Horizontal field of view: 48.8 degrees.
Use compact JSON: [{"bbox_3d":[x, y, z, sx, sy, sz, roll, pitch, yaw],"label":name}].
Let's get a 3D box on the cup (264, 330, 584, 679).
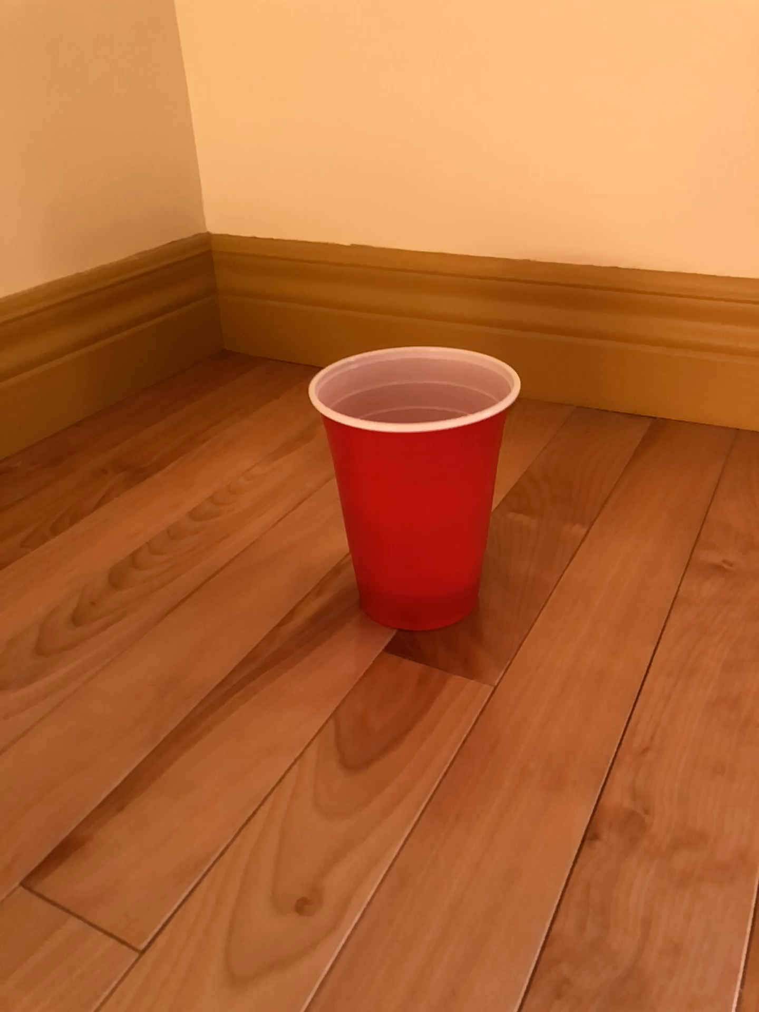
[{"bbox_3d":[0.021,-0.008,0.396,0.100,0.109,0.100,-3,29,2],"label":"cup"}]
